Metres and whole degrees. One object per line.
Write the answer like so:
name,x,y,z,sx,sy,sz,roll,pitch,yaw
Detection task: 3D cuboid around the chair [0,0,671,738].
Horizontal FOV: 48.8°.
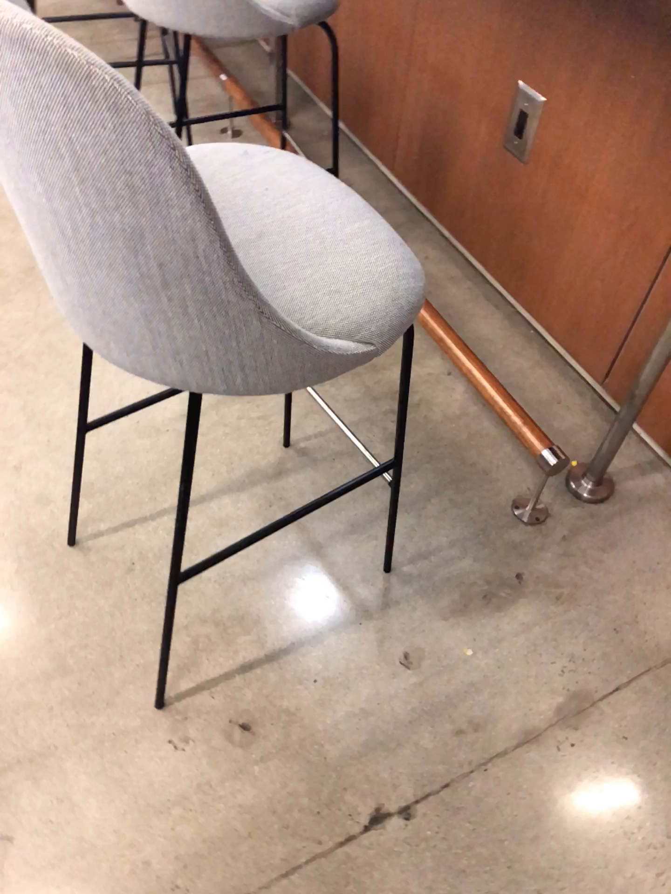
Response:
chair,-0.119,-0.137,1.057,0.621,1.096,0.461,-25,57,-24
